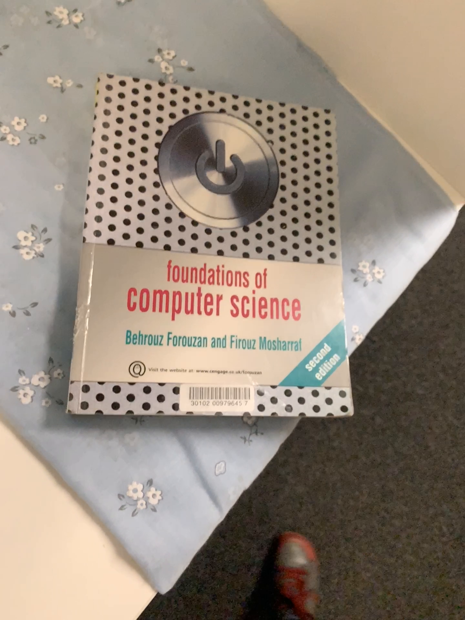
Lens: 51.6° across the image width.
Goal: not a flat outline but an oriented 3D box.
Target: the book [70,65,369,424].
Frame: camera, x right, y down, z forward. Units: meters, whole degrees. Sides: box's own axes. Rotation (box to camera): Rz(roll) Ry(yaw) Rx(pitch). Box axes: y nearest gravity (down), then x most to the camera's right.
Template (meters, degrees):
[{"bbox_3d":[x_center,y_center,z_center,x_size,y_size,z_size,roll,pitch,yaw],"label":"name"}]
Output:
[{"bbox_3d":[-0.006,-0.044,0.349,0.191,0.040,0.246,3,76,-13],"label":"book"}]
